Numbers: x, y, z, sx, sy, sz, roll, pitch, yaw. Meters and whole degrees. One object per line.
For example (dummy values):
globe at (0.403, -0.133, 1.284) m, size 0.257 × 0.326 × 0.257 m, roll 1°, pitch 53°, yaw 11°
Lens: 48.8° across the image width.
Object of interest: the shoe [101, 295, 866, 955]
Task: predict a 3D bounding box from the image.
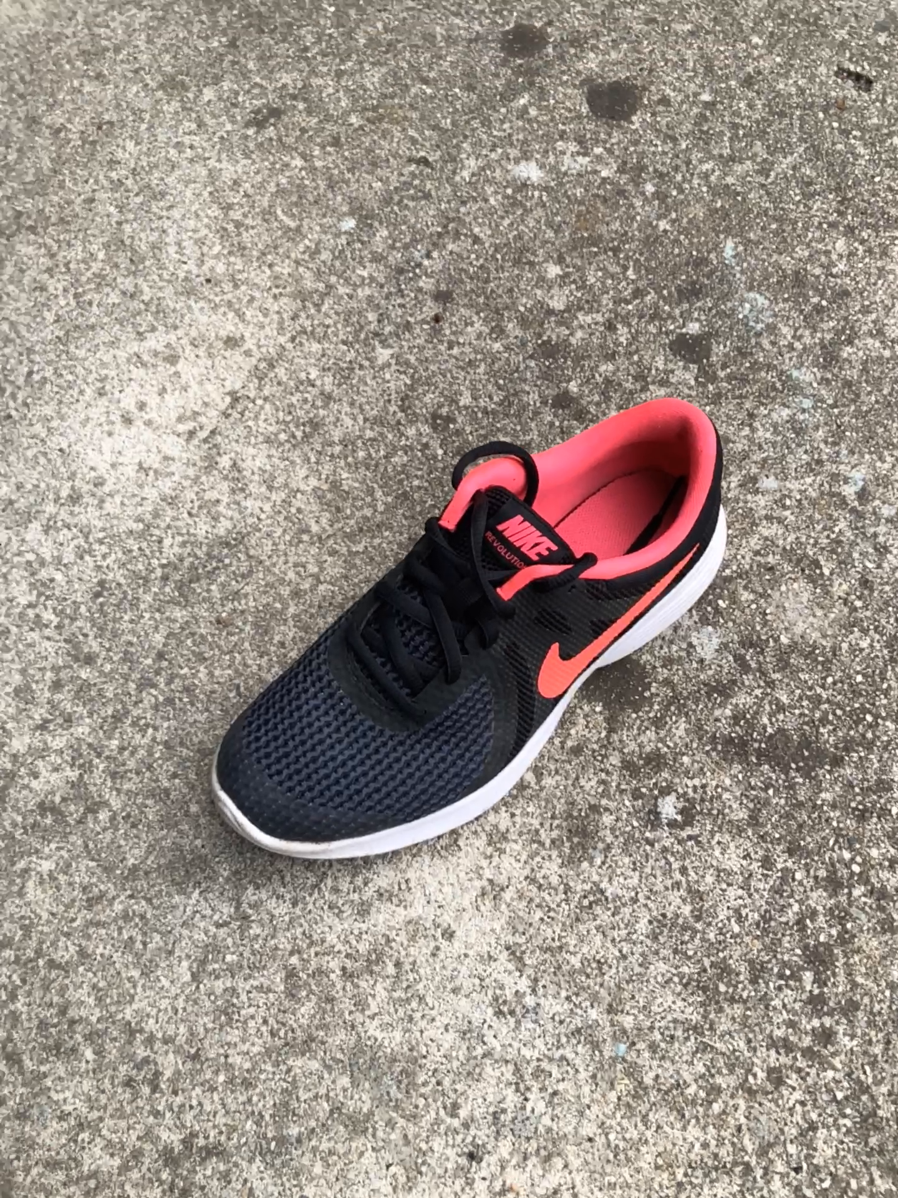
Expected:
shoe at (0.019, 0.008, 0.410) m, size 0.273 × 0.100 × 0.110 m, roll -35°, pitch 68°, yaw -13°
